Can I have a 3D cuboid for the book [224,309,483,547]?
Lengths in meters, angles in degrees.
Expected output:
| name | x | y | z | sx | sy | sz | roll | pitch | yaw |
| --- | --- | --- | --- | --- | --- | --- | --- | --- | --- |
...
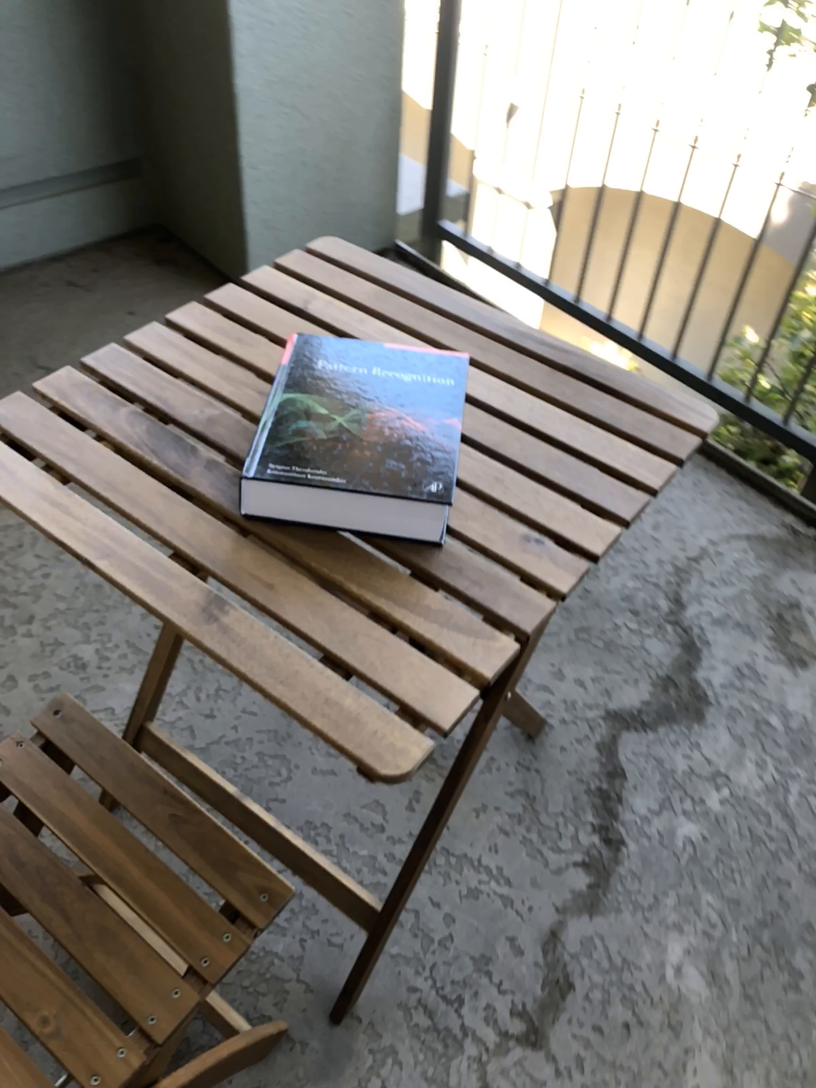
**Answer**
| name | x | y | z | sx | sy | sz | roll | pitch | yaw |
| --- | --- | --- | --- | --- | --- | --- | --- | --- | --- |
| book | -0.043 | -0.124 | 0.901 | 0.210 | 0.070 | 0.251 | 8 | 46 | 3 |
